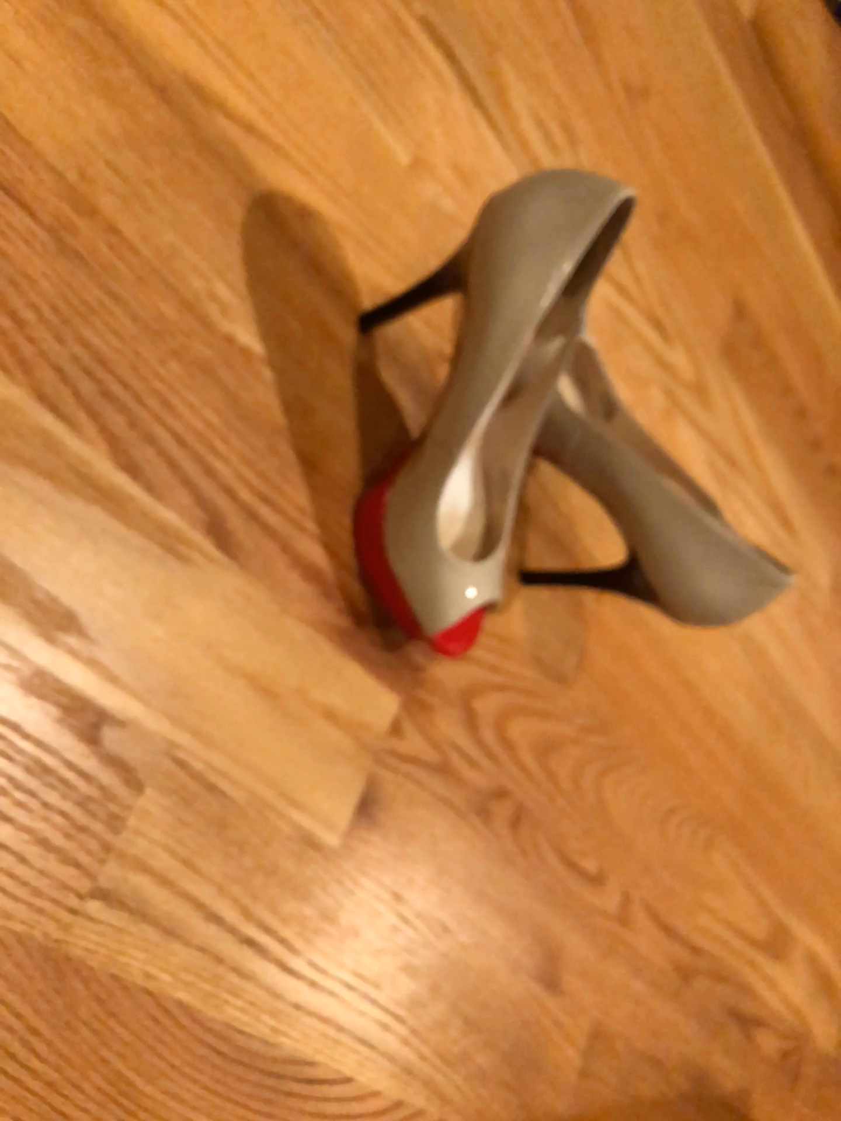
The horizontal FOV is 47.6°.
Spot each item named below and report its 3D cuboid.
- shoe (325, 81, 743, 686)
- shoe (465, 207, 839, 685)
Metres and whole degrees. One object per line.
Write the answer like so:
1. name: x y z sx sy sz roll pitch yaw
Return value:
1. shoe: 0.046 -0.061 0.412 0.085 0.129 0.215 -8 92 -46
2. shoe: 0.122 -0.051 0.517 0.080 0.149 0.220 -11 94 -46
